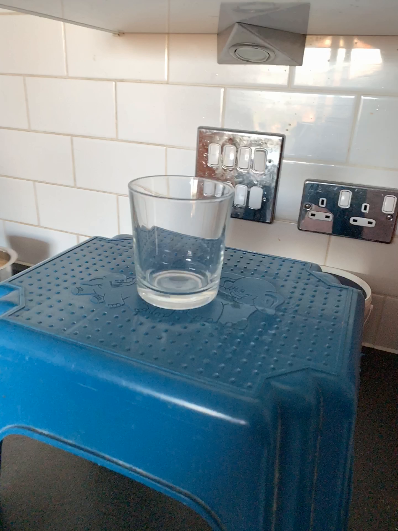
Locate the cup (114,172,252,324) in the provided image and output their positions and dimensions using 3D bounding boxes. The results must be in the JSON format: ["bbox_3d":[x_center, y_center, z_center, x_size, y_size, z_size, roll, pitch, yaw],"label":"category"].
[{"bbox_3d":[-0.014,-0.019,0.314,0.077,0.085,0.067,23,30,38],"label":"cup"}]
